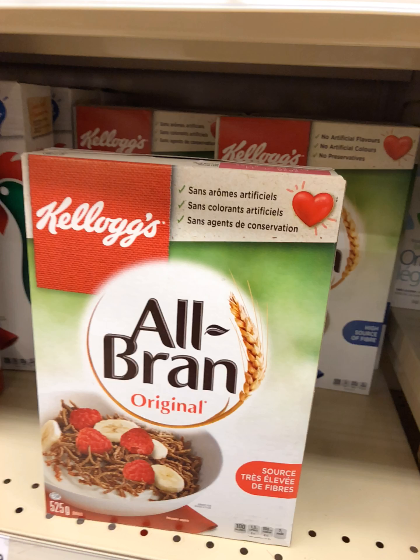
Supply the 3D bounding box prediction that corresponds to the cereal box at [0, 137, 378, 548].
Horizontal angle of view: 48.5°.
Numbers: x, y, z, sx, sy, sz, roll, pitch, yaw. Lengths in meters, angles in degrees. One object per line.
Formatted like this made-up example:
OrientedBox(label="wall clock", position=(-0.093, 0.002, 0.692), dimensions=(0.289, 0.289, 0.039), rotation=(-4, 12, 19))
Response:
OrientedBox(label="cereal box", position=(-0.020, 0.043, 0.289), dimensions=(0.190, 0.238, 0.050), rotation=(5, 21, 5))
